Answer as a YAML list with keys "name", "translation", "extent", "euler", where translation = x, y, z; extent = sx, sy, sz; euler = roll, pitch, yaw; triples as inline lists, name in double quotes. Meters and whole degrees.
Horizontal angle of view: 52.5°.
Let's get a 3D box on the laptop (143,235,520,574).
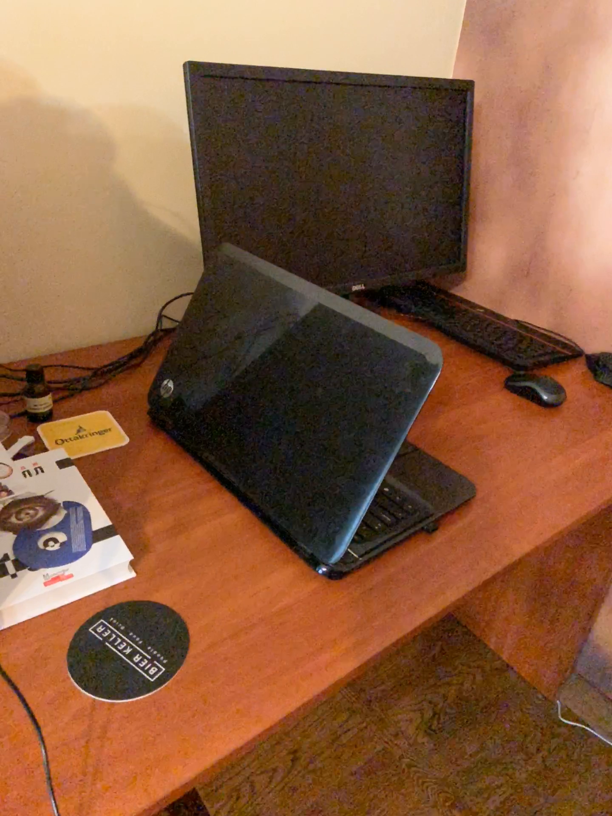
- name: "laptop"
  translation: [0.005, -0.039, 0.702]
  extent: [0.222, 0.198, 0.349]
  euler: [-19, 39, -37]
